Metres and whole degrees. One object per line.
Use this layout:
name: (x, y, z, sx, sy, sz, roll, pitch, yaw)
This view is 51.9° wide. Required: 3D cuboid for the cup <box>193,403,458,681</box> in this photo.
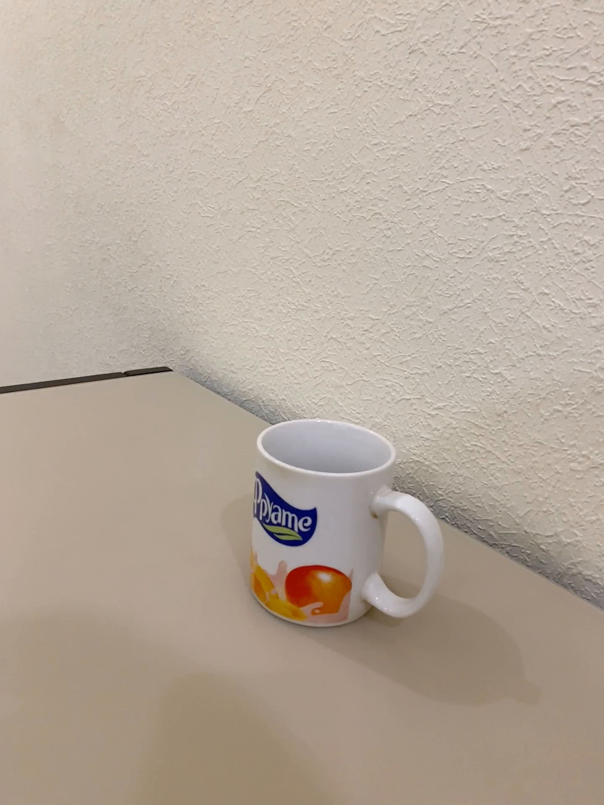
cup: (0.009, 0.067, 0.350, 0.117, 0.092, 0.081, 19, 23, 35)
